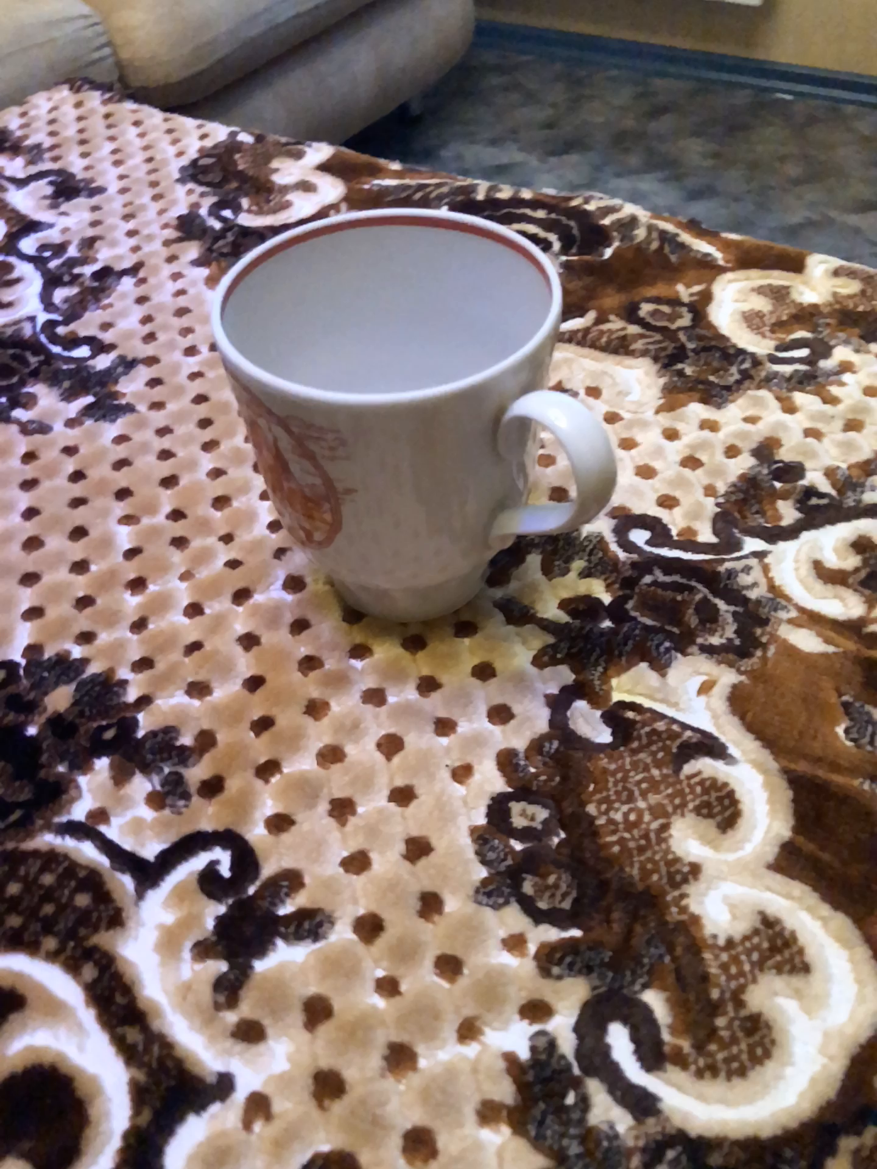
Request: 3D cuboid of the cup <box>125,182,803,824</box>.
[{"bbox_3d":[0.004,-0.030,0.266,0.100,0.090,0.130,-36,55,-28],"label":"cup"}]
